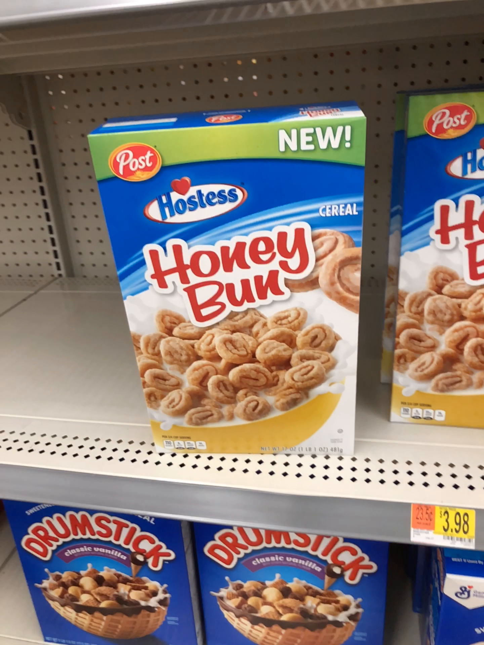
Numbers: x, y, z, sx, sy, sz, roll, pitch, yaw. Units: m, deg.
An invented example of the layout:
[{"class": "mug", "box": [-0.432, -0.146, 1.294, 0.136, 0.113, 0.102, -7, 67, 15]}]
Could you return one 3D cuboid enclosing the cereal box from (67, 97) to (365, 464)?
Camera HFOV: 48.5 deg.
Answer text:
[{"class": "cereal box", "box": [-0.006, -0.015, 0.459, 0.200, 0.309, 0.060, -1, 30, 7]}]
